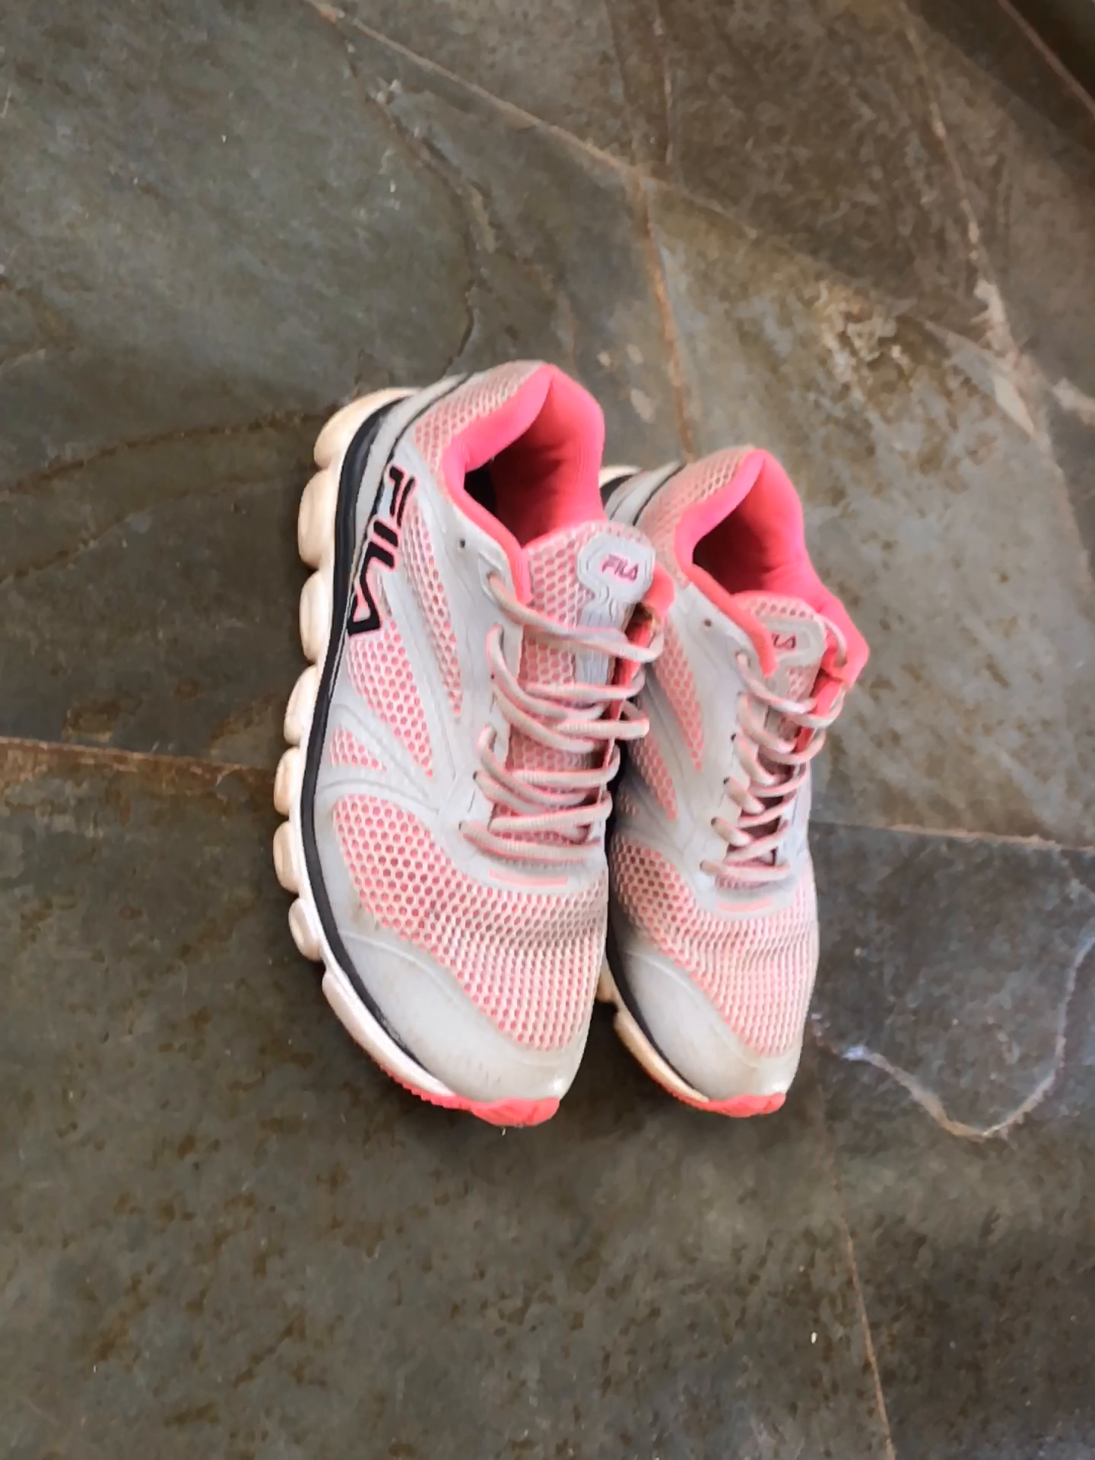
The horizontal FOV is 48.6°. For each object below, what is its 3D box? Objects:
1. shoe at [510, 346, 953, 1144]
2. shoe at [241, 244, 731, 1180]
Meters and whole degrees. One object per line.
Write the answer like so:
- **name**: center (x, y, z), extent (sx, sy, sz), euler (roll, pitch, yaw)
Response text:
- **shoe**: center (0.064, 0.010, 0.492), extent (0.110, 0.099, 0.291), euler (12, 64, -35)
- **shoe**: center (-0.031, -0.003, 0.415), extent (0.110, 0.099, 0.281), euler (9, 66, -37)
